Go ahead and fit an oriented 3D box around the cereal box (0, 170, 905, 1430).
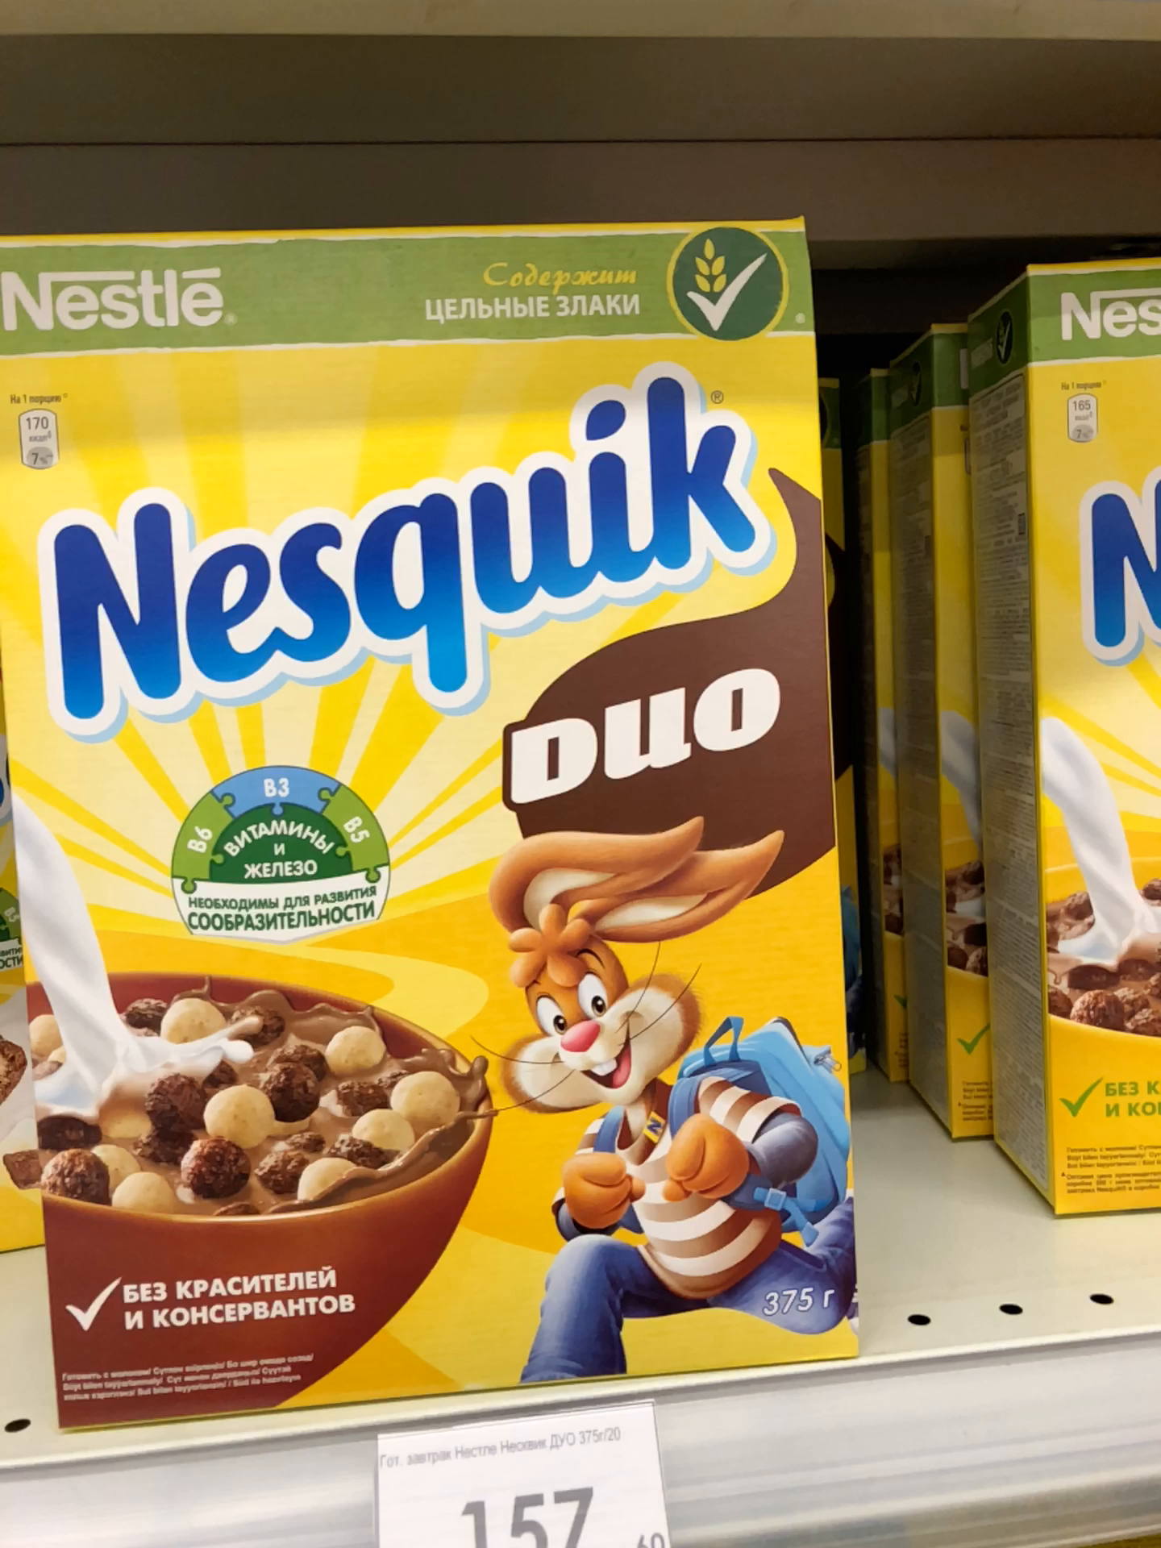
[{"bbox_3d":[-0.030,0.003,0.323,0.200,0.280,0.060,-3,2,-4],"label":"cereal box"}]
